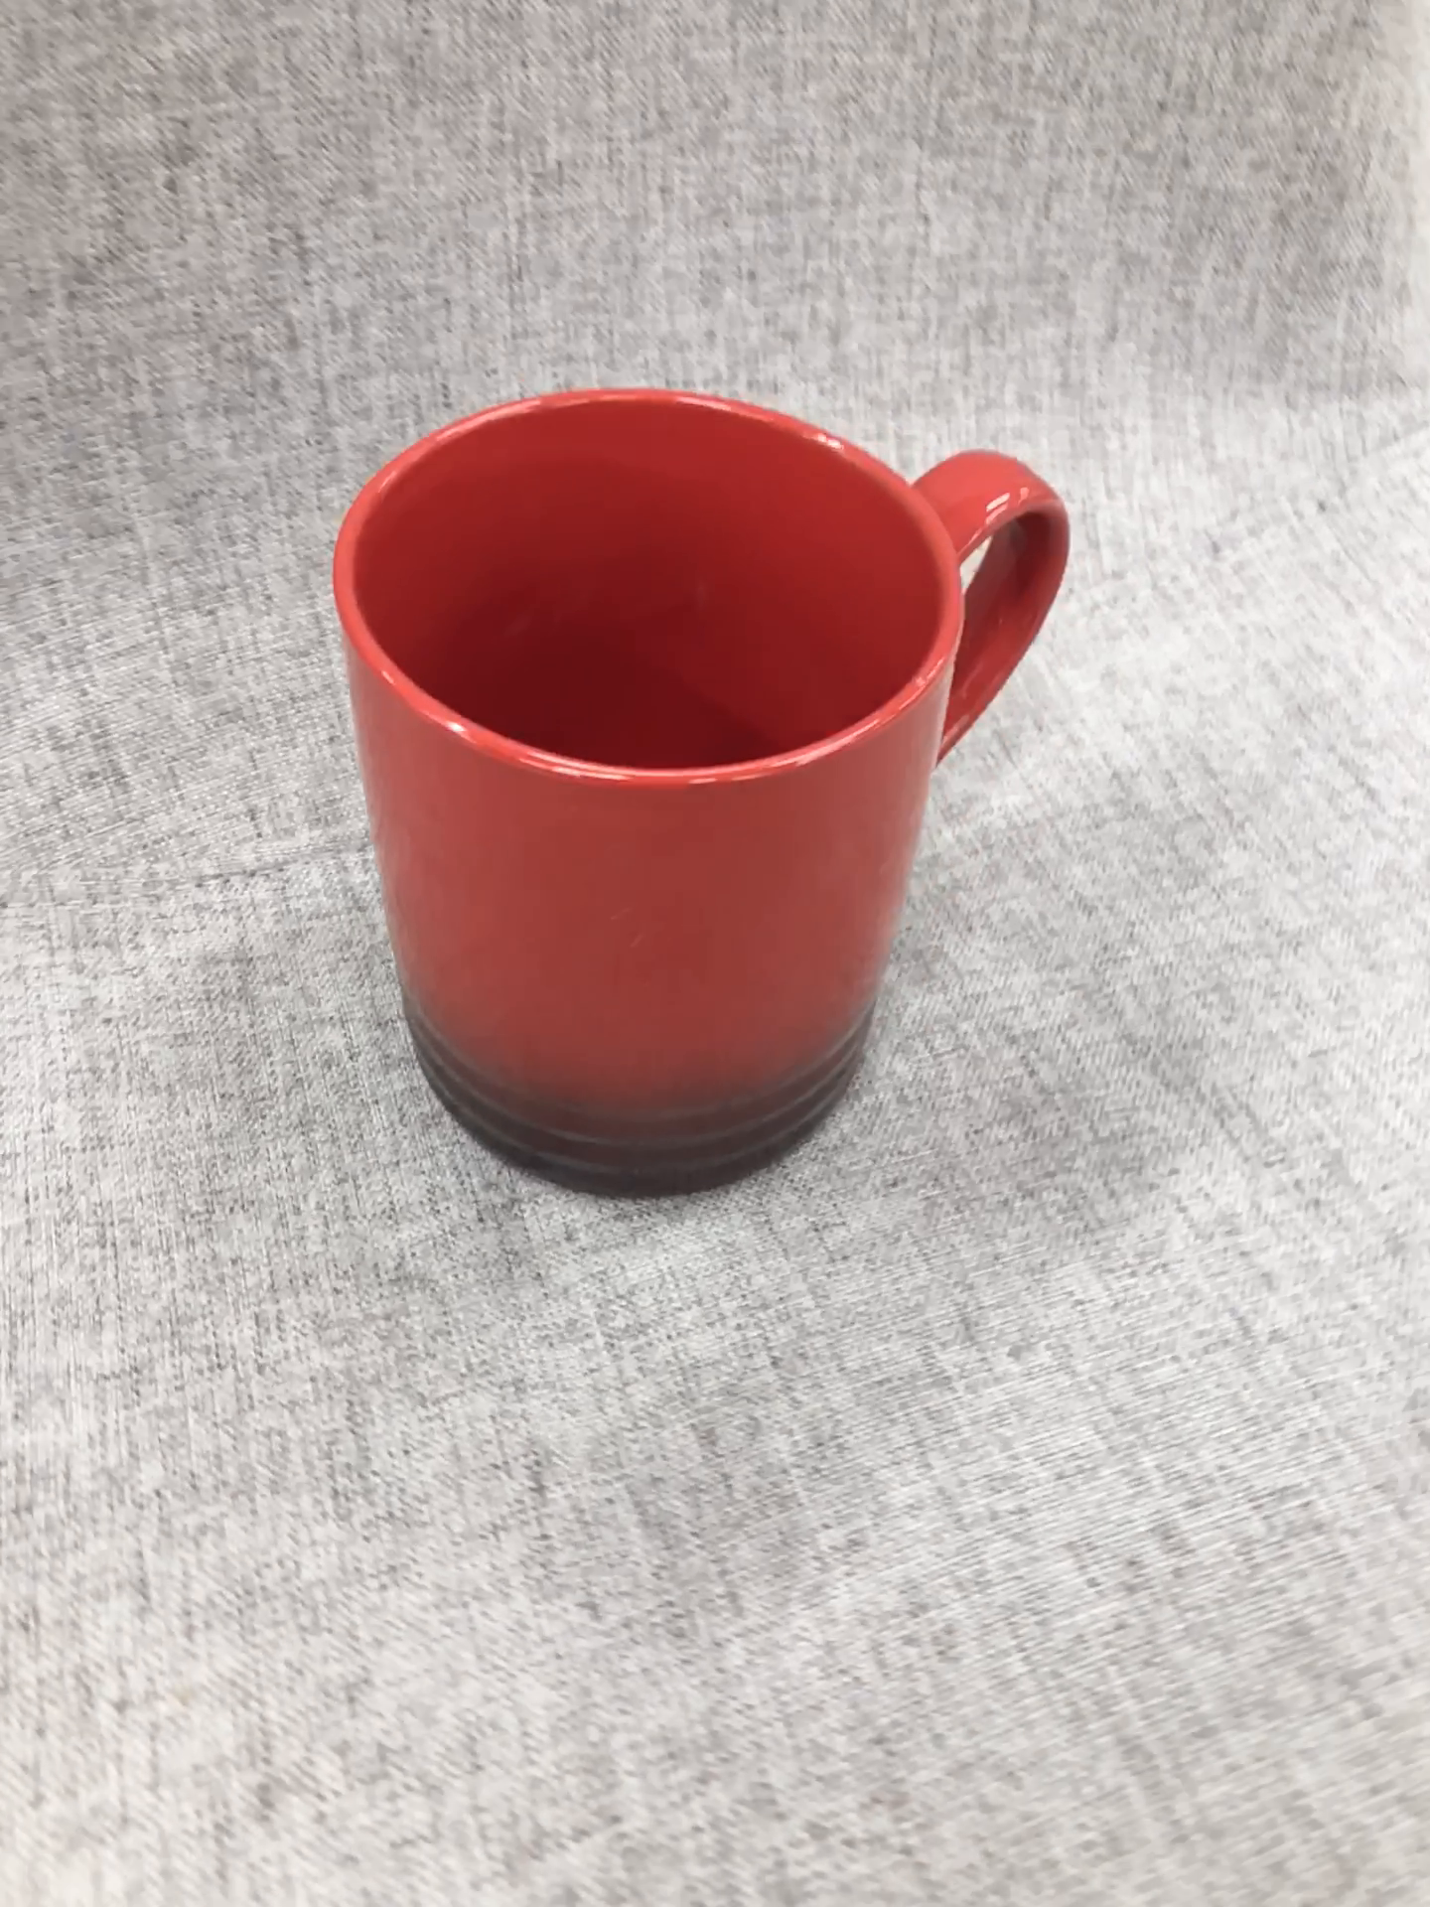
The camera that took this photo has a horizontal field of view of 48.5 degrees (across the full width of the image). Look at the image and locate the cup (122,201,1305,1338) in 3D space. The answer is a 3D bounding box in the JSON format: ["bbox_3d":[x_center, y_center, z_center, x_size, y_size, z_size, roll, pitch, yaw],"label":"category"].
[{"bbox_3d":[0.003,-0.032,0.250,0.140,0.099,0.080,-35,62,-26],"label":"cup"}]
